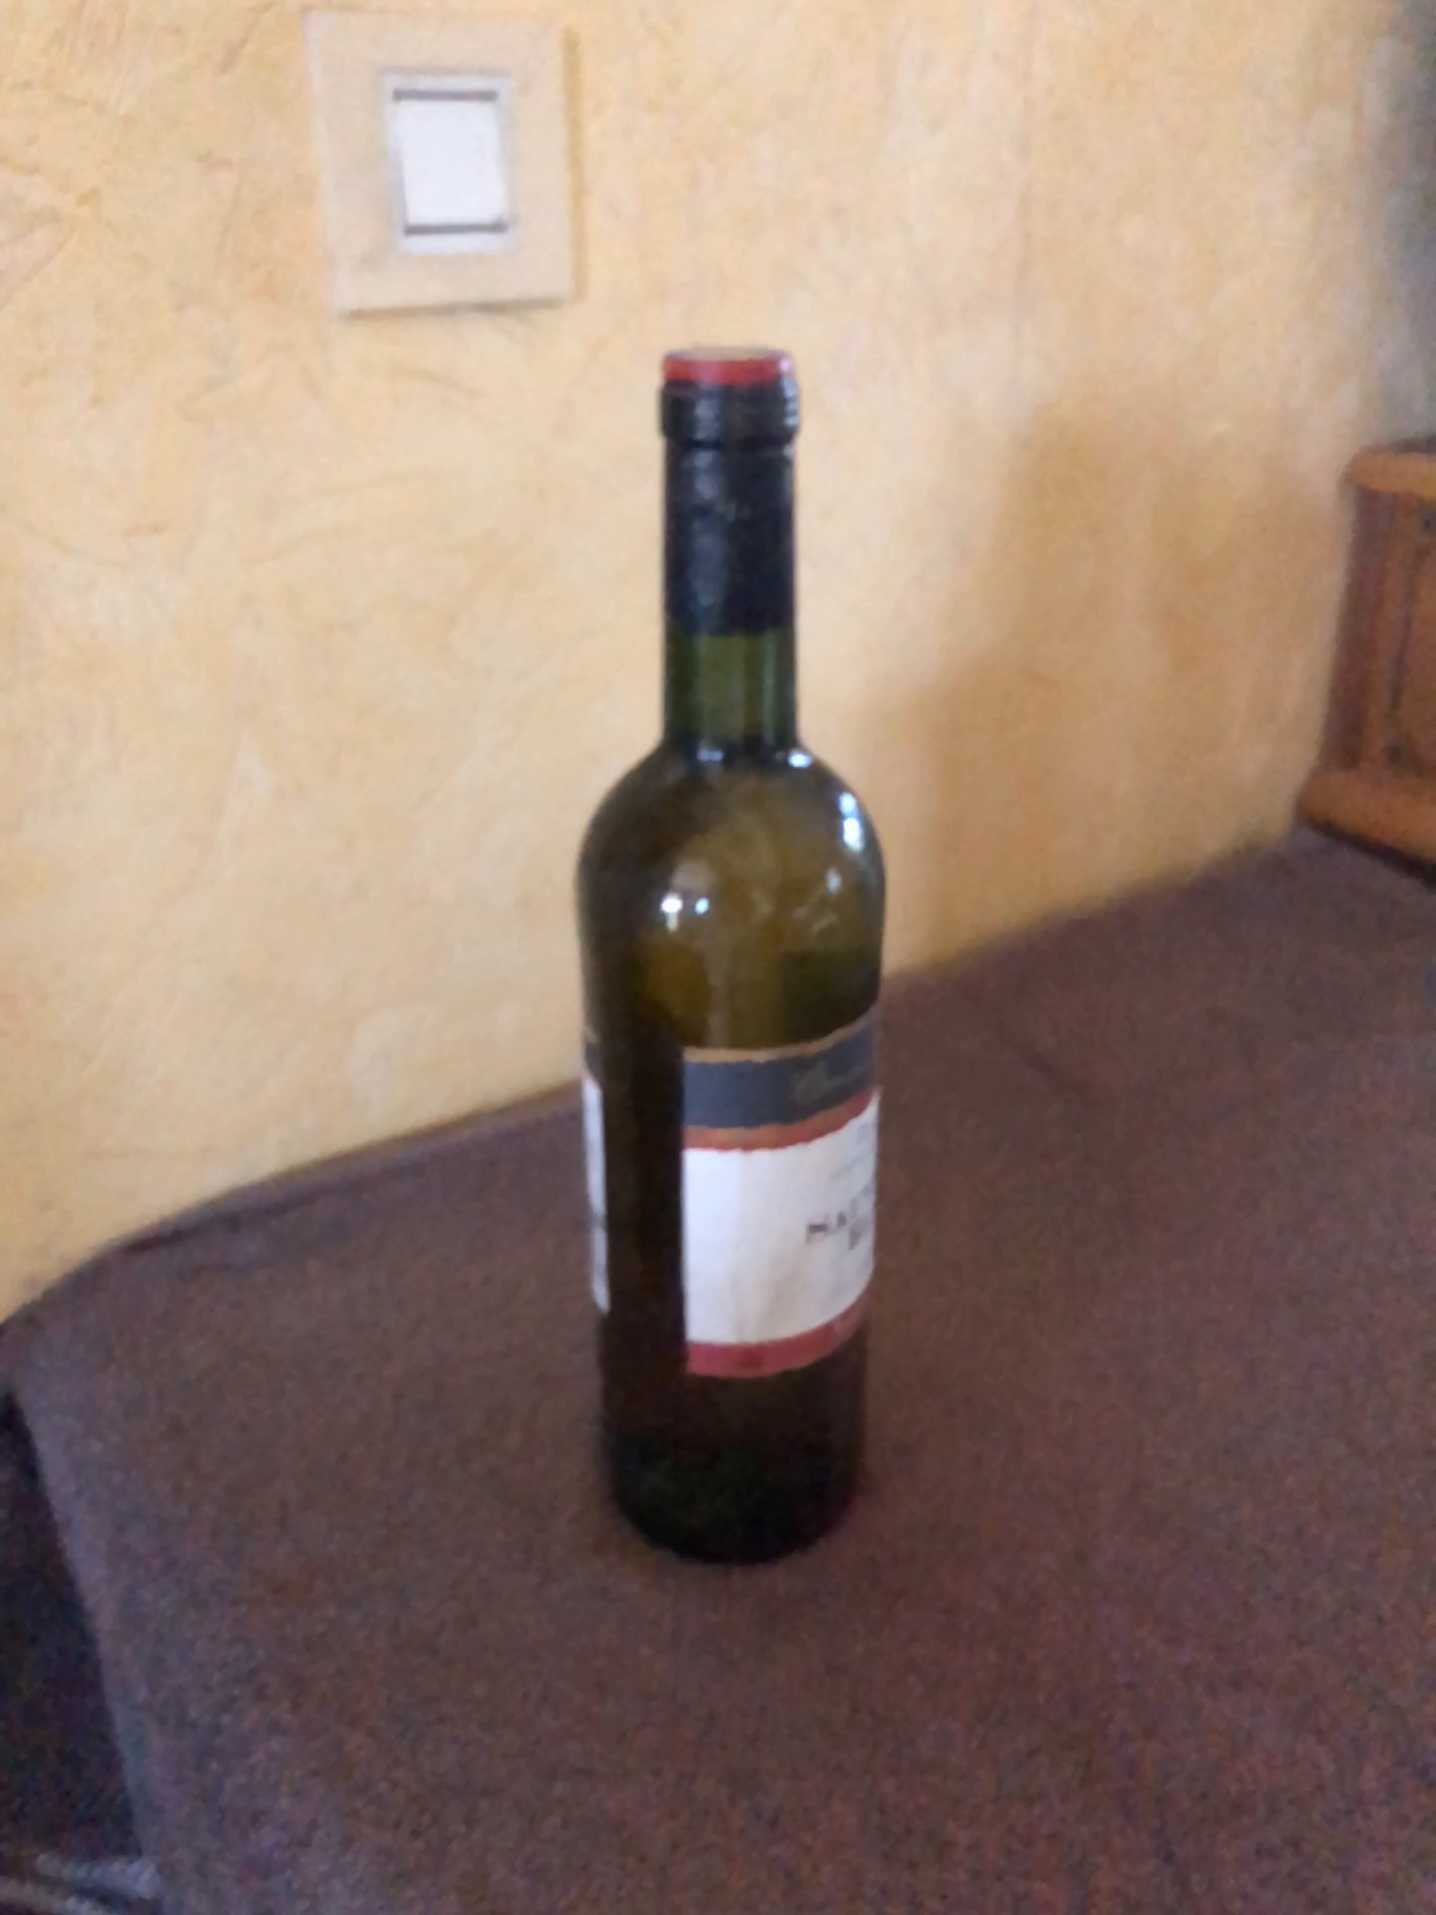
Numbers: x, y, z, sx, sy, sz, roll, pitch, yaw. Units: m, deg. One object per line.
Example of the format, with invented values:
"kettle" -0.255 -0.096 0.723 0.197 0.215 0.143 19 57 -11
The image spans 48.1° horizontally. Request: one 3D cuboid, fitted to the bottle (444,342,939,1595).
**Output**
"bottle" 0.001 0.010 0.388 0.080 0.288 0.081 -1 26 0
